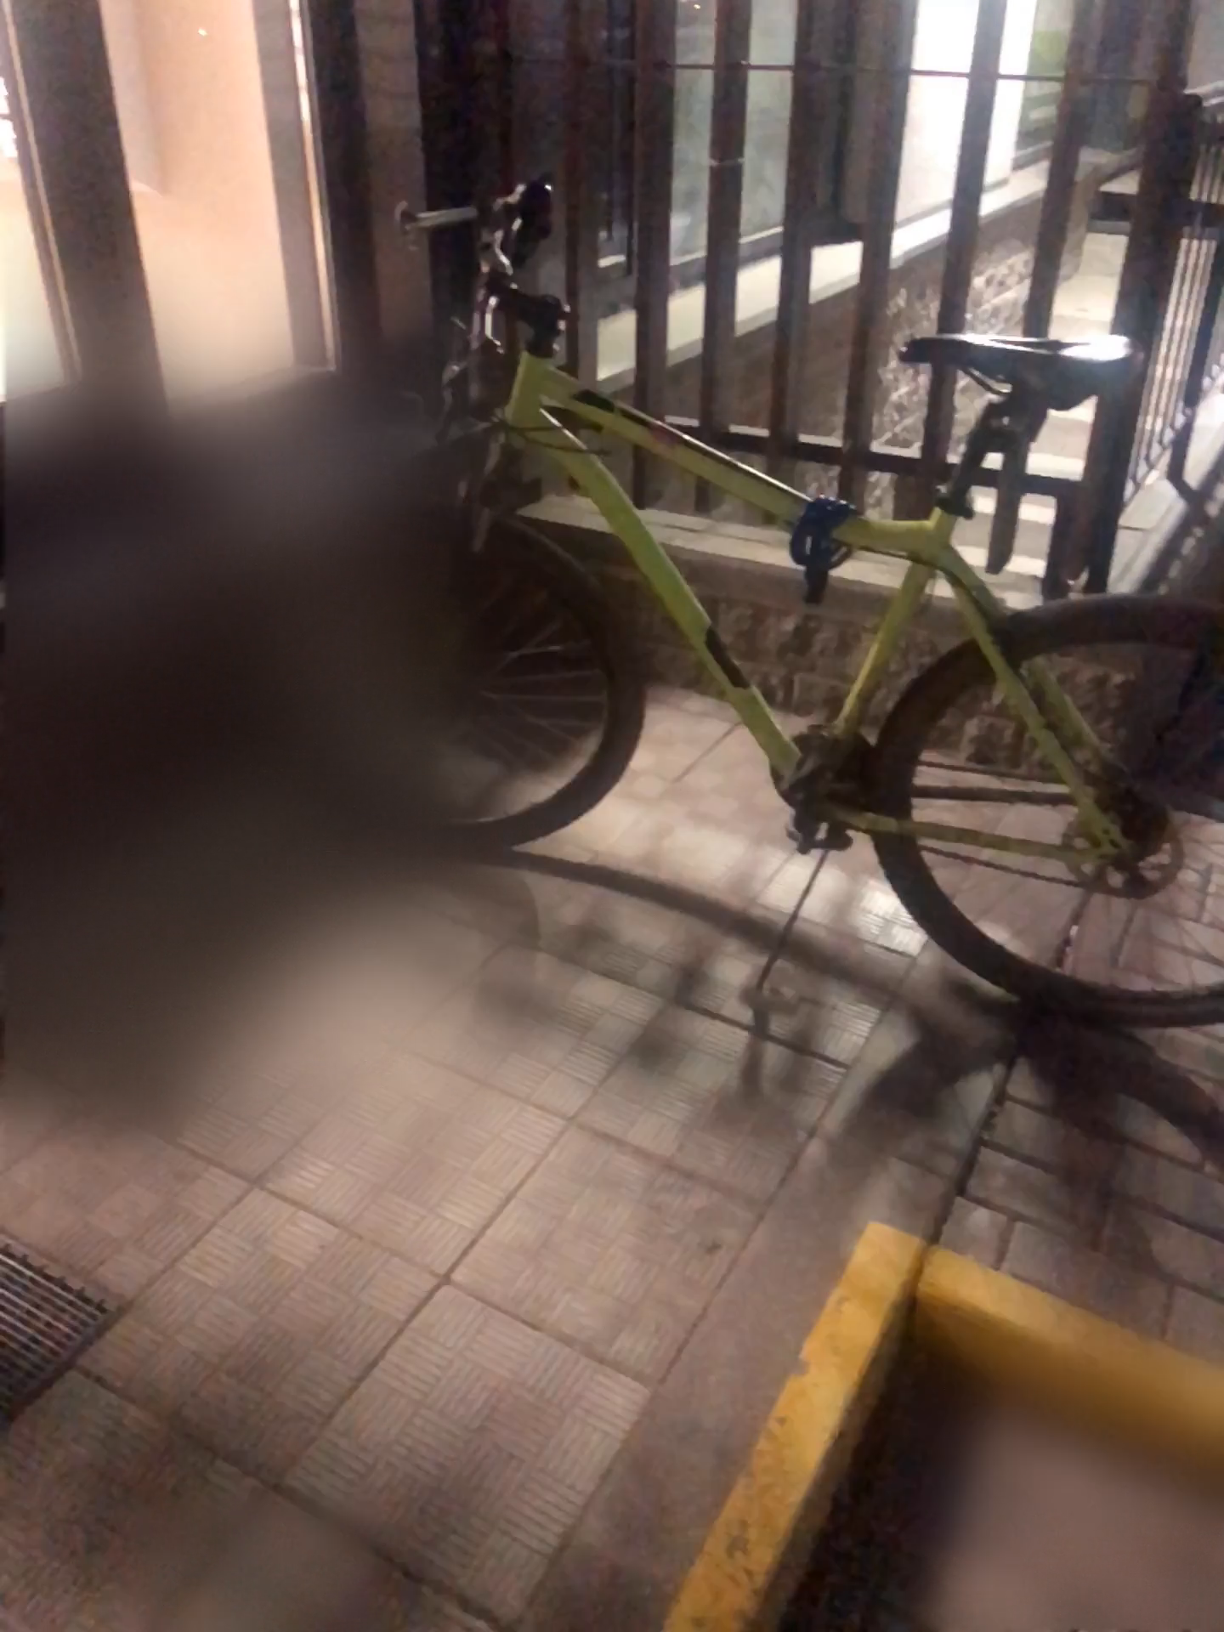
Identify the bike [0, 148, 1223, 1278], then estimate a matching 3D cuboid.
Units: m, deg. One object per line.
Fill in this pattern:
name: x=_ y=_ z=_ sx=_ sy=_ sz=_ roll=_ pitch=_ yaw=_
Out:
bike: x=0.175 y=-0.239 z=1.844 sx=1.761 sy=1.095 sz=0.723 roll=10 pitch=32 yaw=15
